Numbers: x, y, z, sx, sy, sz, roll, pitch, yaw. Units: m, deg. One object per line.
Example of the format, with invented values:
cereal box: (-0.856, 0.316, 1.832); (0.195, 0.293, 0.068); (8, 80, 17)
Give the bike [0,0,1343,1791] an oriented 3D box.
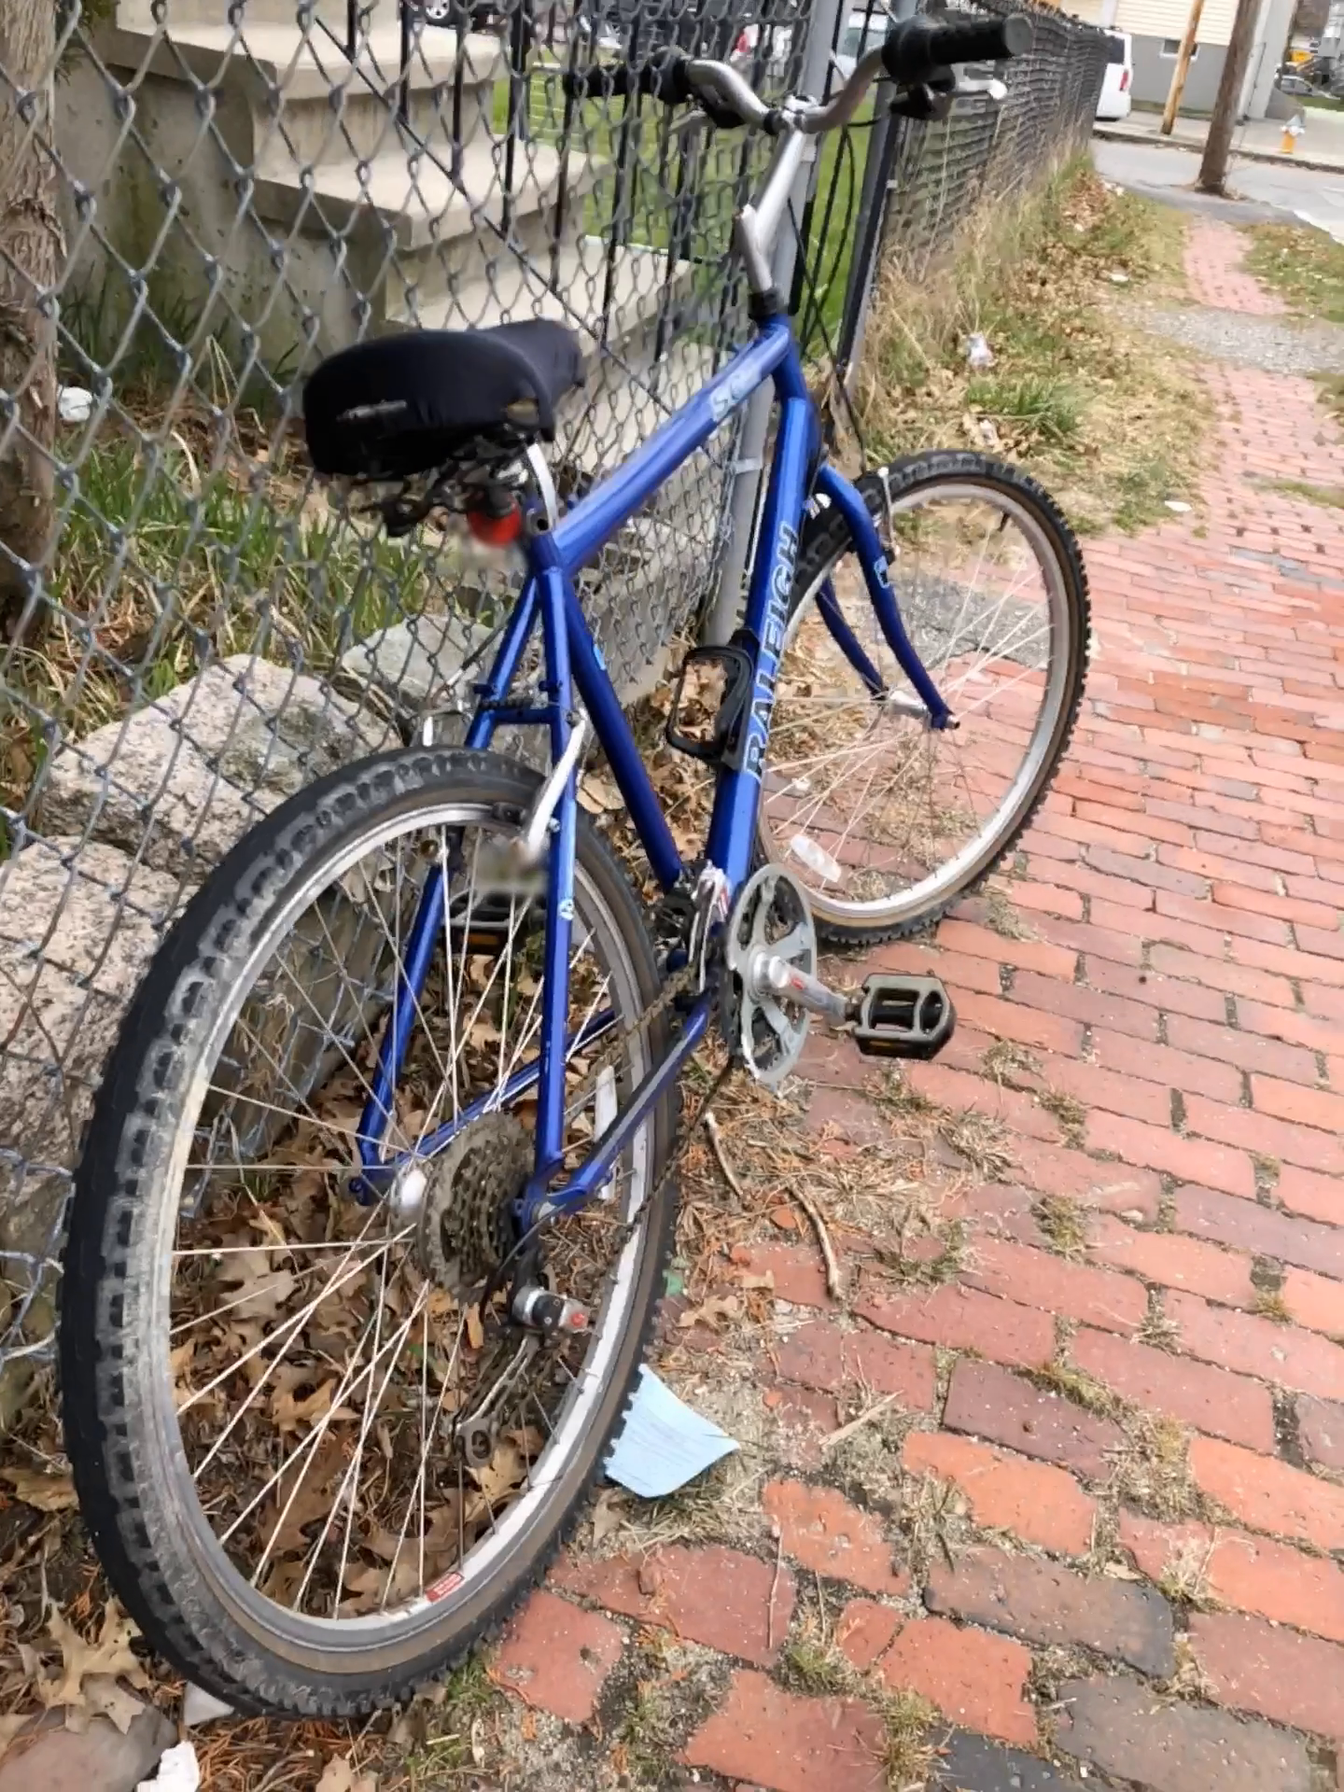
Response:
bike: (-0.009, -0.249, 1.350); (0.679, 1.024, 1.674); (20, 34, 23)
